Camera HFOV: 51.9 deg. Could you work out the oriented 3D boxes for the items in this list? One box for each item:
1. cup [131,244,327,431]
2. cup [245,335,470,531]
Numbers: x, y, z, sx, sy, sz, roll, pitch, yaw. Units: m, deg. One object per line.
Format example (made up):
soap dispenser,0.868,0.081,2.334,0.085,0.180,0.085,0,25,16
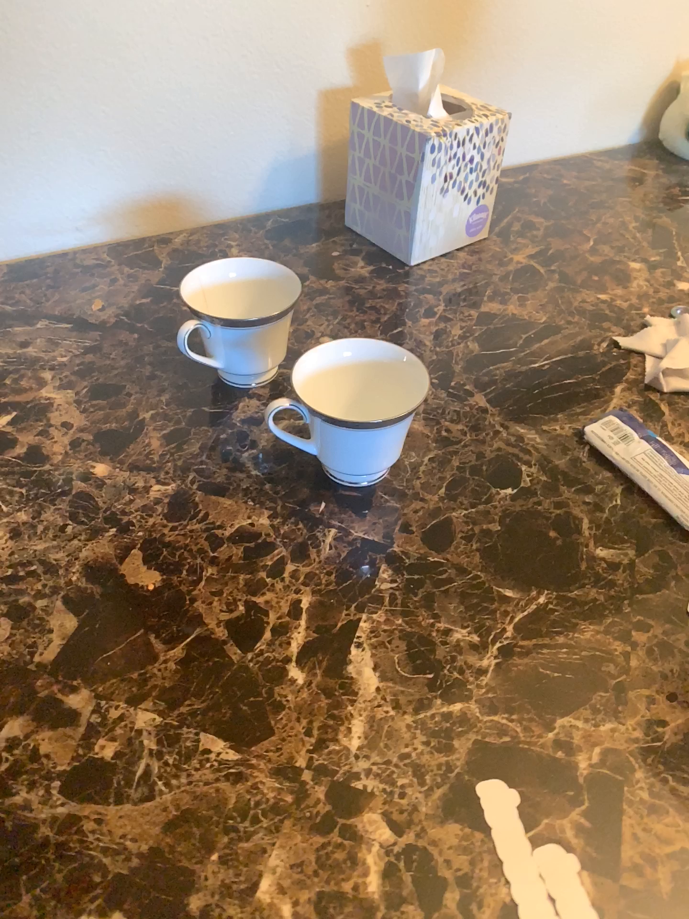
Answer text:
cup,-0.080,-0.094,0.526,0.090,0.070,0.110,22,47,20
cup,0.004,-0.020,0.464,0.120,0.070,0.091,-9,45,-12
